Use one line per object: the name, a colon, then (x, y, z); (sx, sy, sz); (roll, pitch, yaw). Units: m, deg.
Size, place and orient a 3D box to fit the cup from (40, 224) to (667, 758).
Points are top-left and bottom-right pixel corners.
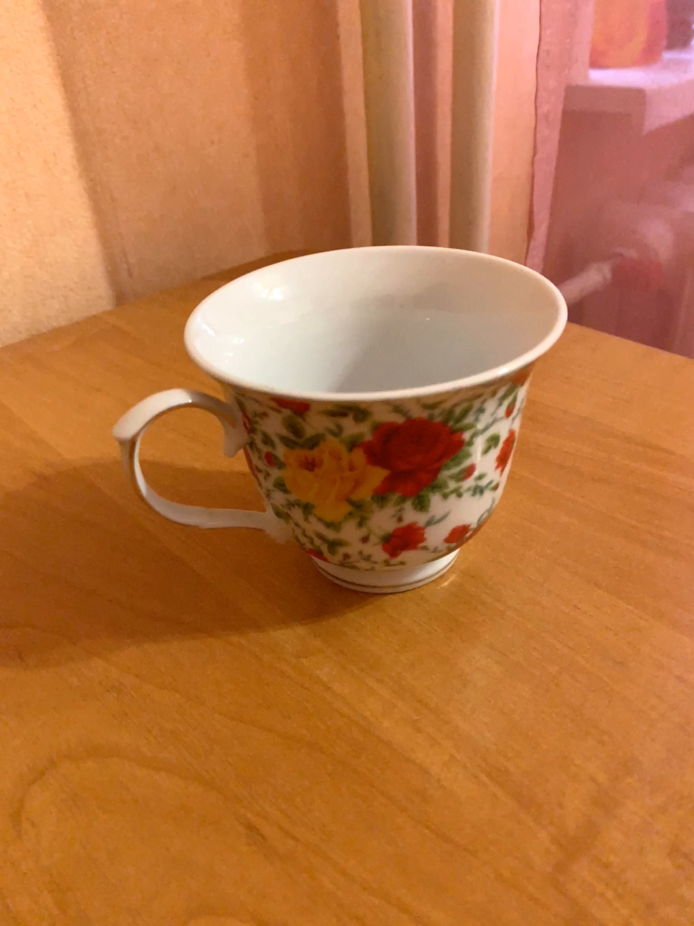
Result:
cup: (0.000, -0.008, 0.197); (0.120, 0.067, 0.100); (-23, 38, -25)
